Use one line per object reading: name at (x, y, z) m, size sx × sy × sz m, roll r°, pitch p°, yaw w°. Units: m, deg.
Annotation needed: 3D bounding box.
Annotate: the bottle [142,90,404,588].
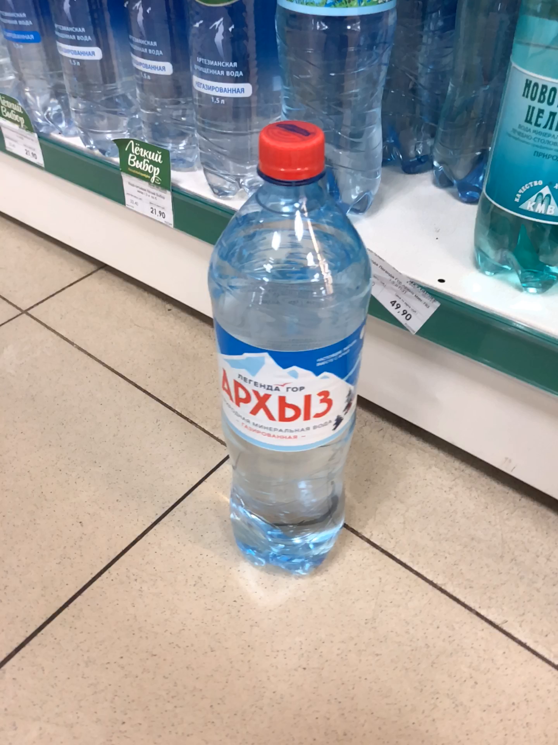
bottle at (0.004, 0.006, 0.375) m, size 0.093 × 0.306 × 0.086 m, roll -1°, pitch 43°, yaw 1°
